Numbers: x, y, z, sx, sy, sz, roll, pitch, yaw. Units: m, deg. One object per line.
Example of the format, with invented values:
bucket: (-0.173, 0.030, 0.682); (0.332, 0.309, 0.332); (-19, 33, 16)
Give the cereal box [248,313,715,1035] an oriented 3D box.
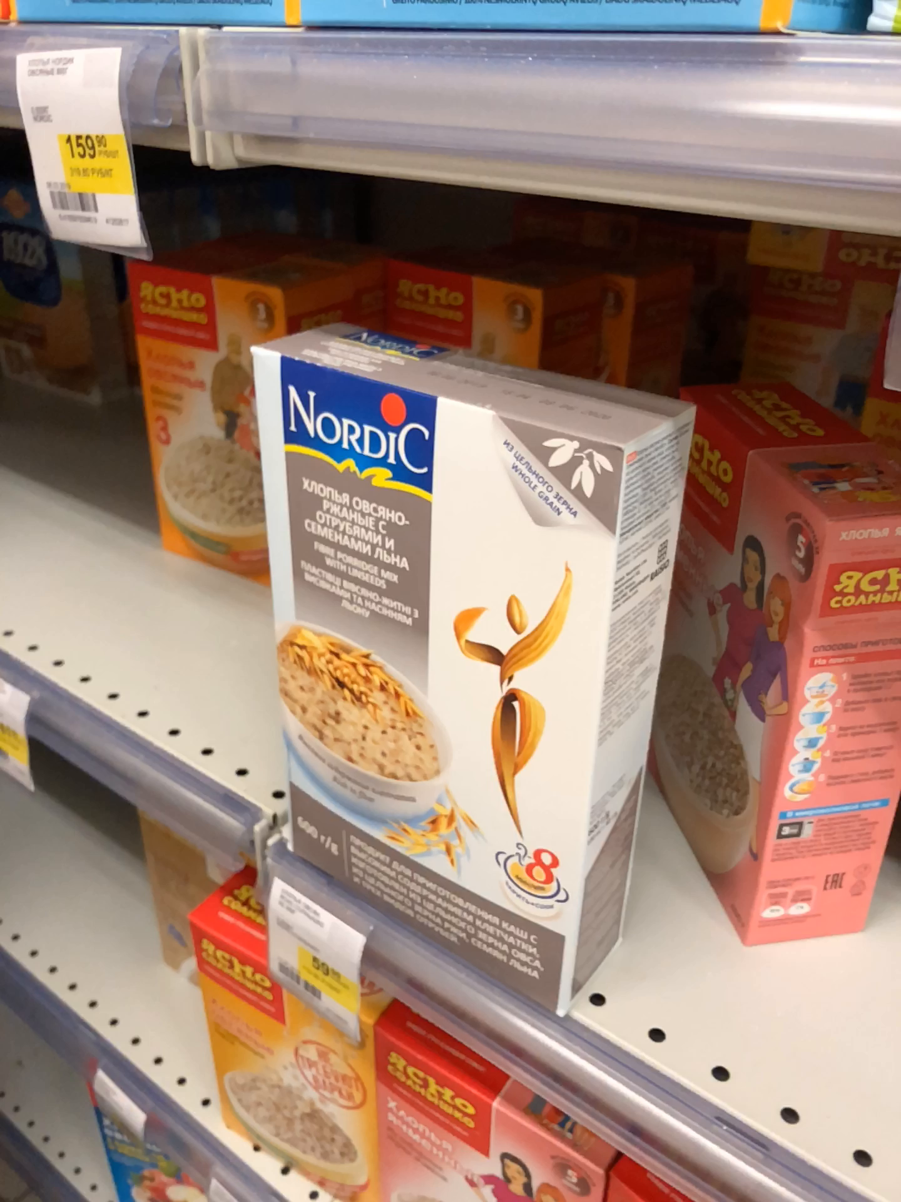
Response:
cereal box: (0.004, 0.027, 0.363); (0.140, 0.229, 0.050); (20, 35, 31)
